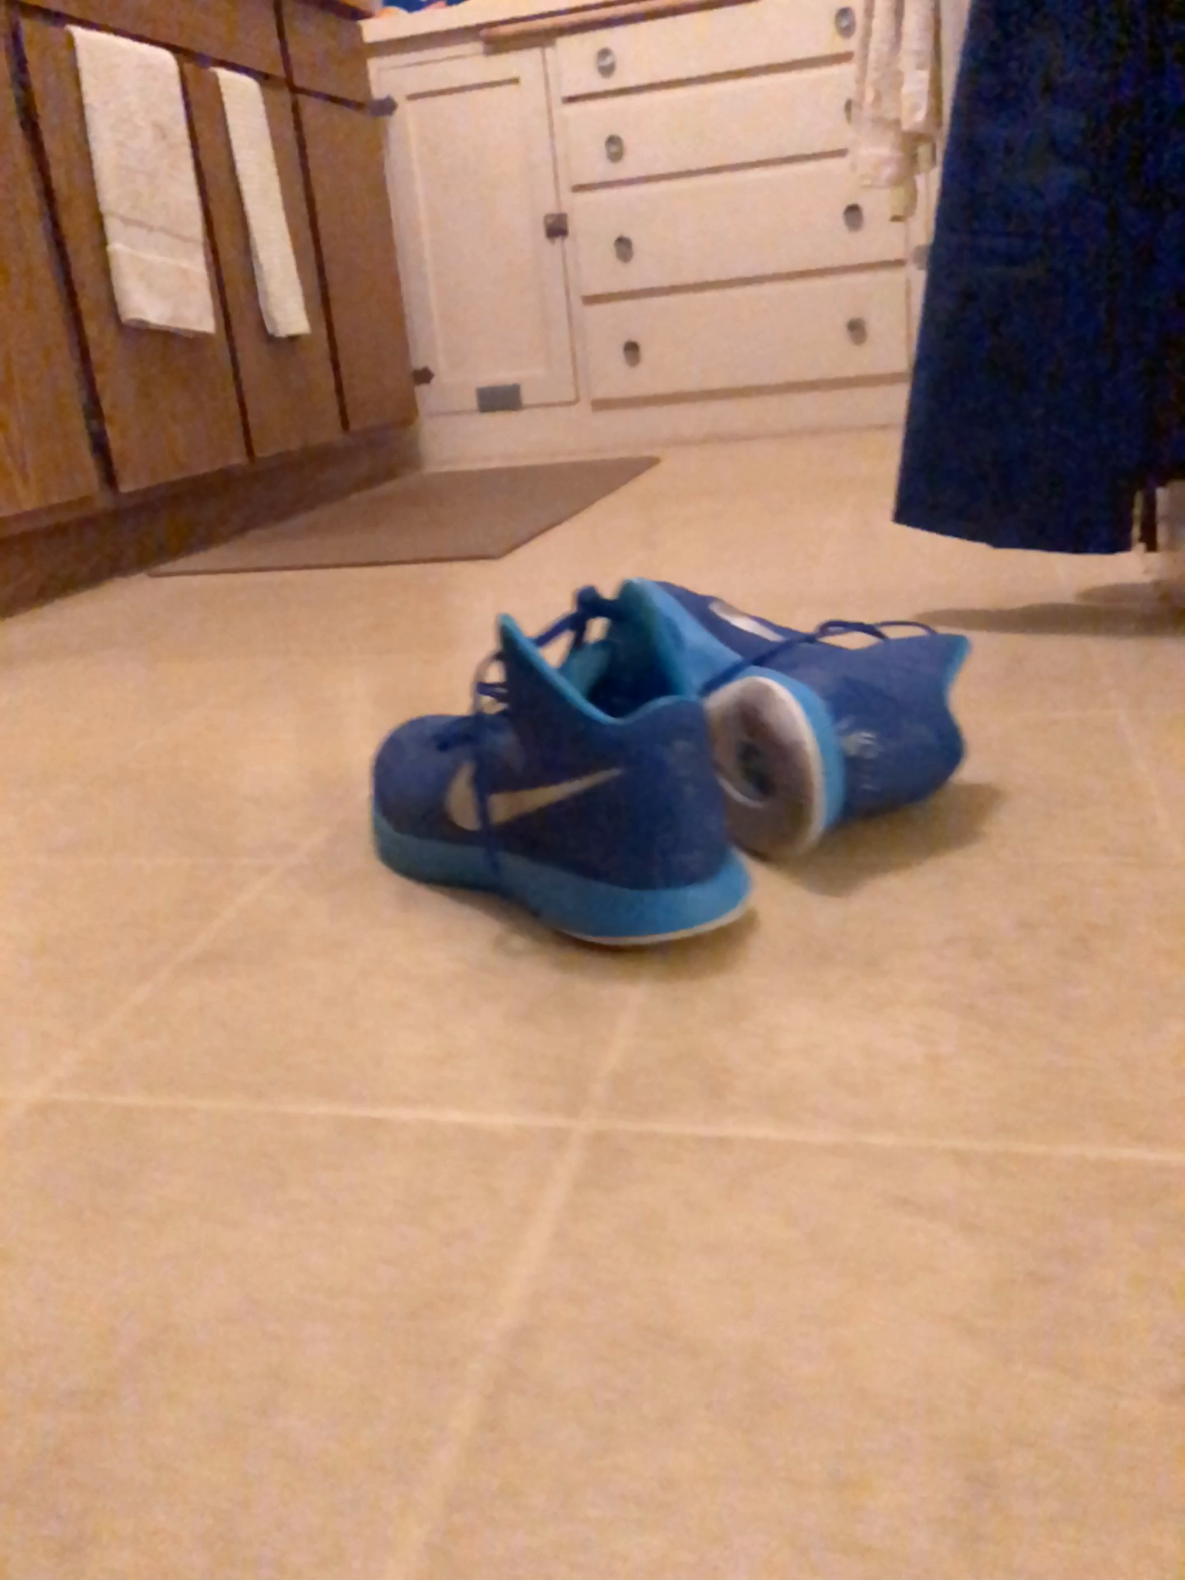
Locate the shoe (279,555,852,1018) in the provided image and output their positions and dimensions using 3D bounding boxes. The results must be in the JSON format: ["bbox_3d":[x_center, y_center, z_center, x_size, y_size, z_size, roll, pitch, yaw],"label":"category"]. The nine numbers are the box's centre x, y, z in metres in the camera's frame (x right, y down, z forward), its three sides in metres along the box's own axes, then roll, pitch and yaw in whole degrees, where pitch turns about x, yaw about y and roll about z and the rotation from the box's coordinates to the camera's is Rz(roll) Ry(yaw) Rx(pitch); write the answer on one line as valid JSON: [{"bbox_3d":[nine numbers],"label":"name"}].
[{"bbox_3d":[-0.028,-0.025,0.662,0.120,0.144,0.311,-19,23,-32],"label":"shoe"}]

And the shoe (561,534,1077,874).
[{"bbox_3d":[0.110,-0.067,0.750,0.159,0.120,0.282,-9,19,-22],"label":"shoe"}]
